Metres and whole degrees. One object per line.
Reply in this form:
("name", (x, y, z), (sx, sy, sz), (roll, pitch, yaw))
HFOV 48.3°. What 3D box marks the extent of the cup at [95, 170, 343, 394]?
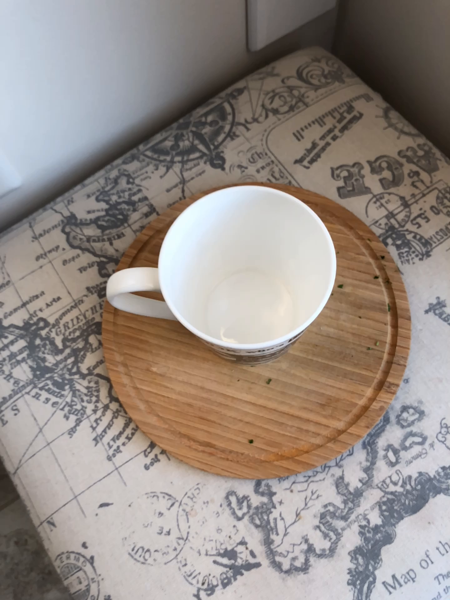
("cup", (0.002, -0.006, 0.282), (0.111, 0.086, 0.091), (5, 69, 5))
